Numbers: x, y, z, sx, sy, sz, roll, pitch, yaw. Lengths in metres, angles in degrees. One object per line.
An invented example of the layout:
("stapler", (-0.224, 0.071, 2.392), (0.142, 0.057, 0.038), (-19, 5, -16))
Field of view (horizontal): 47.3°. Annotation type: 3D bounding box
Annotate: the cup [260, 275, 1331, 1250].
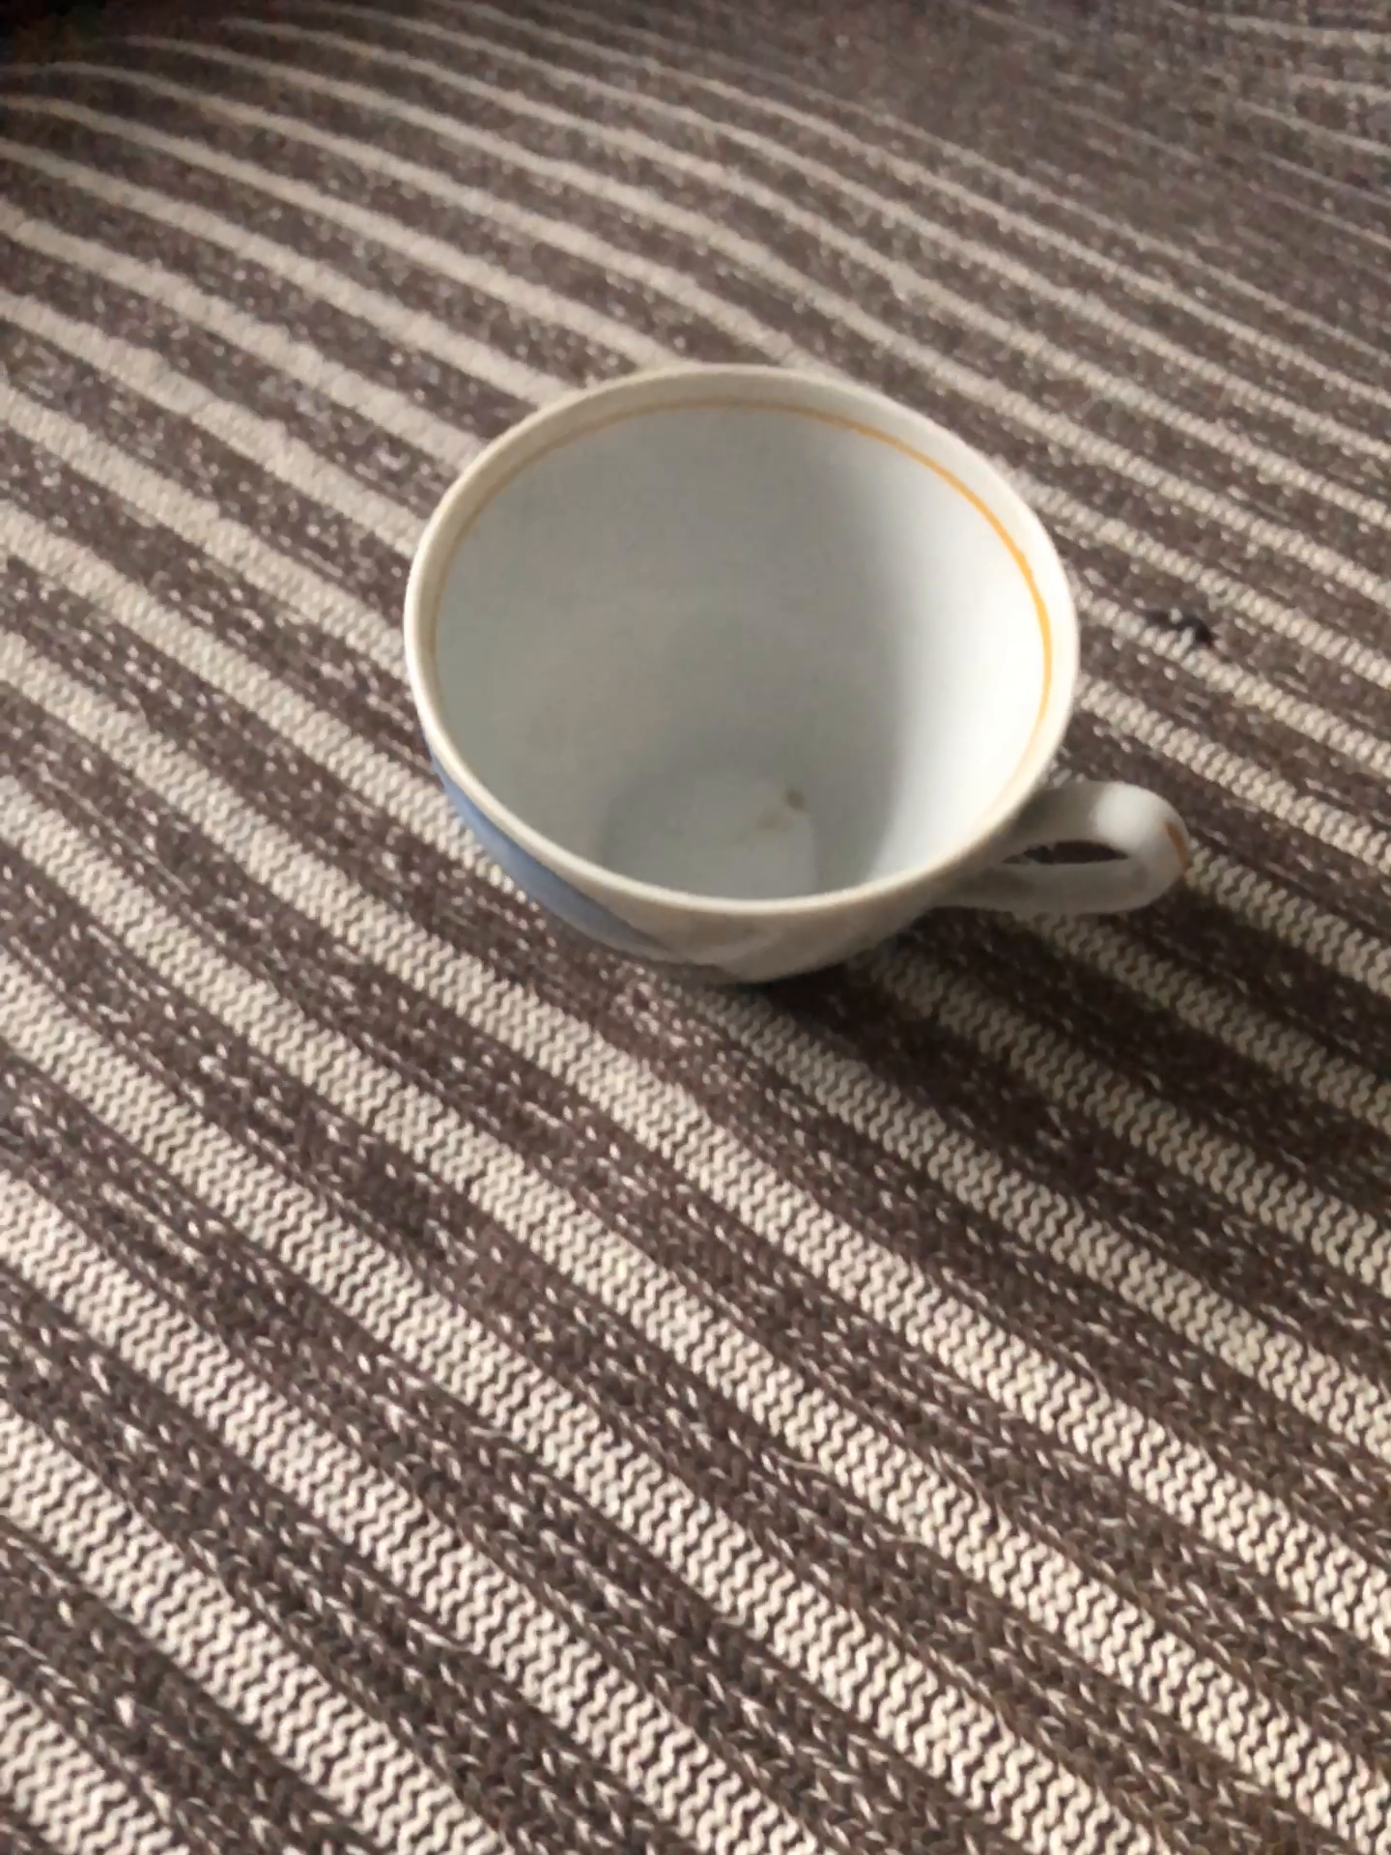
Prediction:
("cup", (0.010, -0.017, 0.165), (0.079, 0.042, 0.061), (27, 67, 11))
